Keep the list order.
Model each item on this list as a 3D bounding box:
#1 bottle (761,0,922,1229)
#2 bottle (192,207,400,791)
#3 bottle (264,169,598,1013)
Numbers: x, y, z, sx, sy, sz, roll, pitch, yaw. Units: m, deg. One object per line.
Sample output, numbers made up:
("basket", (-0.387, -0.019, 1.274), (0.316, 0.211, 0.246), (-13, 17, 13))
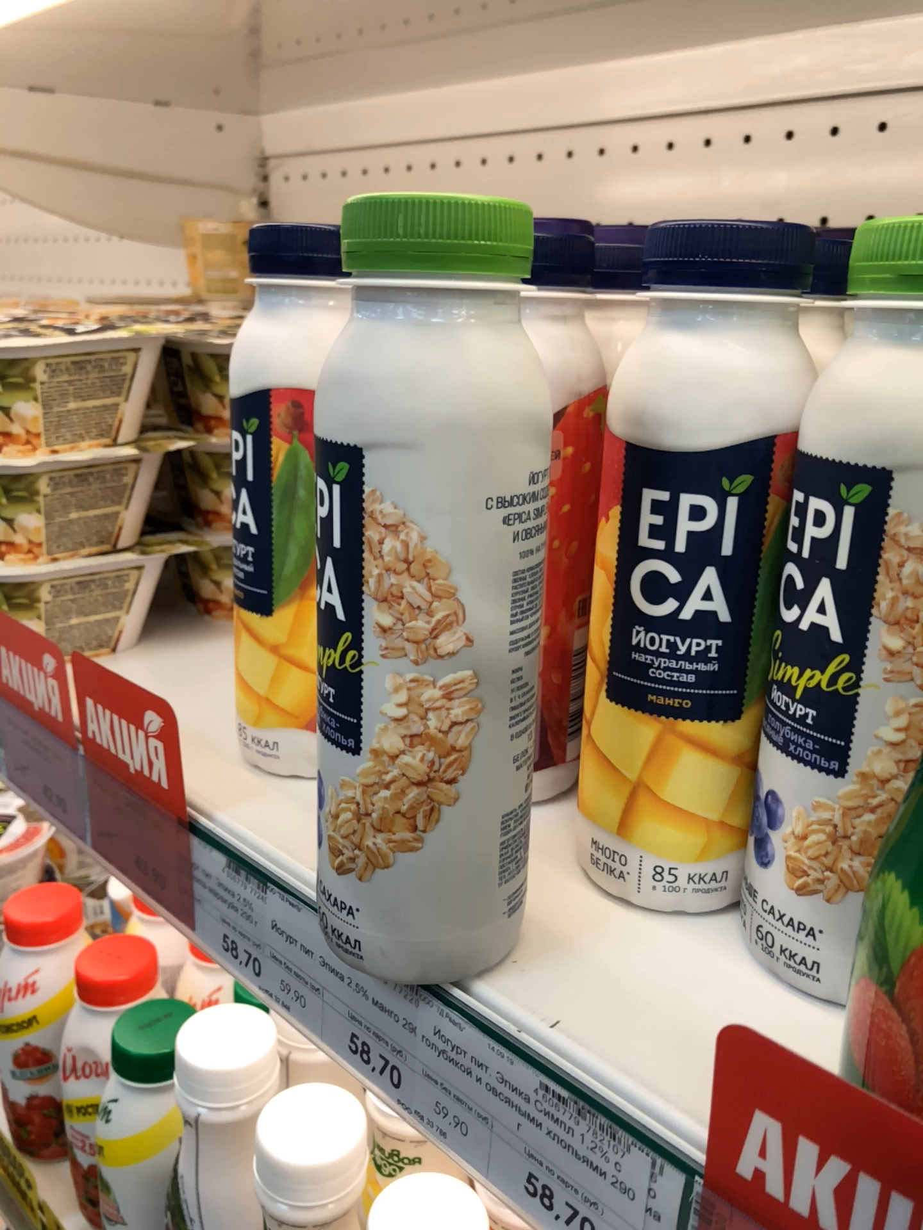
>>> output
("bottle", (0.092, 0.016, 0.152), (0.052, 0.182, 0.053), (1, 17, 0))
("bottle", (-0.052, -0.037, 0.328), (0.049, 0.170, 0.053), (1, 17, 0))
("bottle", (-0.009, -0.005, 0.232), (0.052, 0.170, 0.053), (1, 17, 0))
